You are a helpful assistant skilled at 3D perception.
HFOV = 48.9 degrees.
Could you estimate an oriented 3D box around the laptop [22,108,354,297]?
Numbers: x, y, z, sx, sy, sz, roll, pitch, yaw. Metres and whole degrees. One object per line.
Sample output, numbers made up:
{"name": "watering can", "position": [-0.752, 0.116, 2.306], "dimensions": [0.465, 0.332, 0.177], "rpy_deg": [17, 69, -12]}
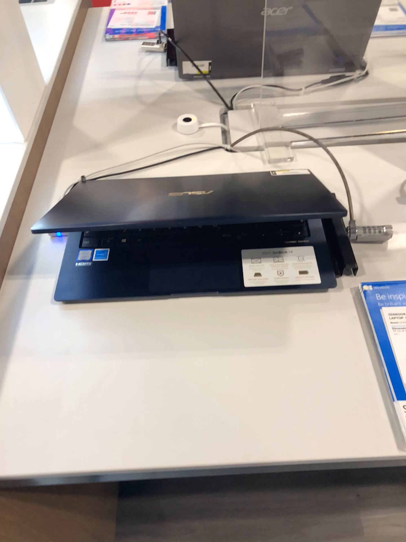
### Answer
{"name": "laptop", "position": [-0.014, -0.085, 0.519], "dimensions": [0.310, 0.095, 0.204], "rpy_deg": [-2, 49, 1]}
